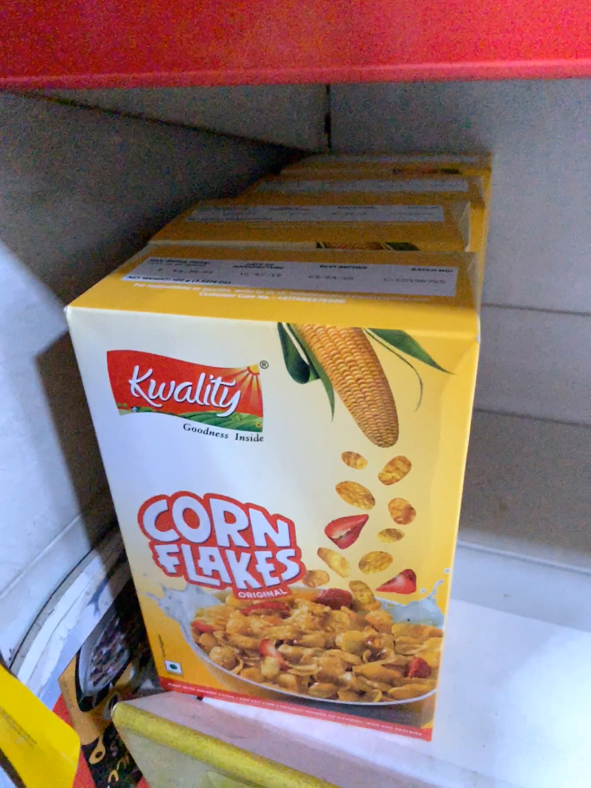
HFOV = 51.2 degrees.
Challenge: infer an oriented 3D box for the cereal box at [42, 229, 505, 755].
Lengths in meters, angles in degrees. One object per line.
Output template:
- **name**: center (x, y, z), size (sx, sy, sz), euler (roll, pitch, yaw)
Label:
- **cereal box**: center (0.001, 0.038, 0.224), size (0.120, 0.179, 0.060), euler (4, 31, 12)
